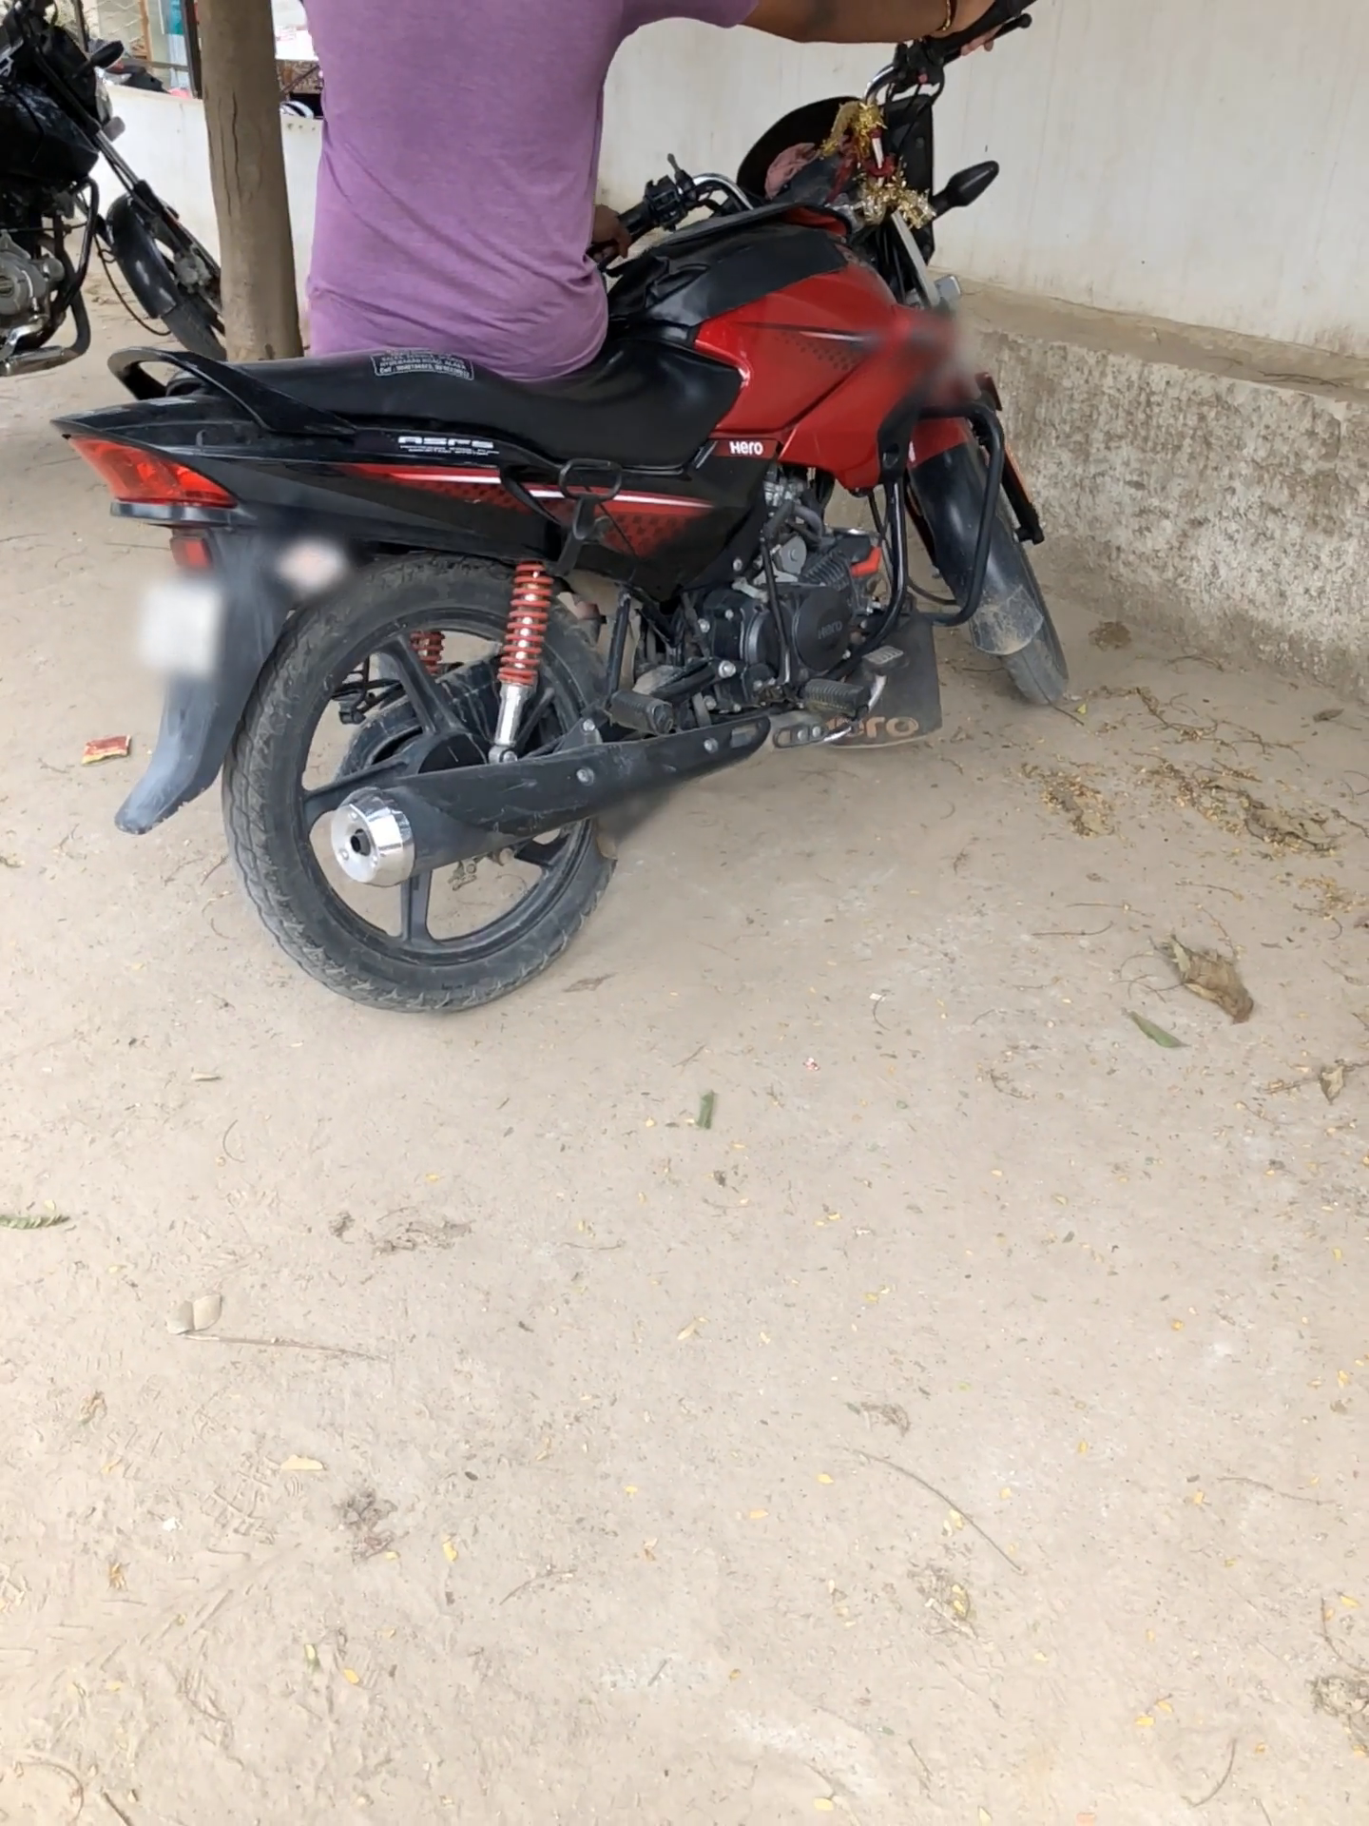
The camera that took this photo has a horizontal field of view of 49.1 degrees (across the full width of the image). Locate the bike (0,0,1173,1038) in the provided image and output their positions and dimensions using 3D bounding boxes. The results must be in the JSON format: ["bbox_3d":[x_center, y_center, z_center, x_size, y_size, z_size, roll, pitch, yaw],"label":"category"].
[{"bbox_3d":[-0.056,-0.900,2.266,0.740,1.086,1.709,23,43,32],"label":"bike"}]
